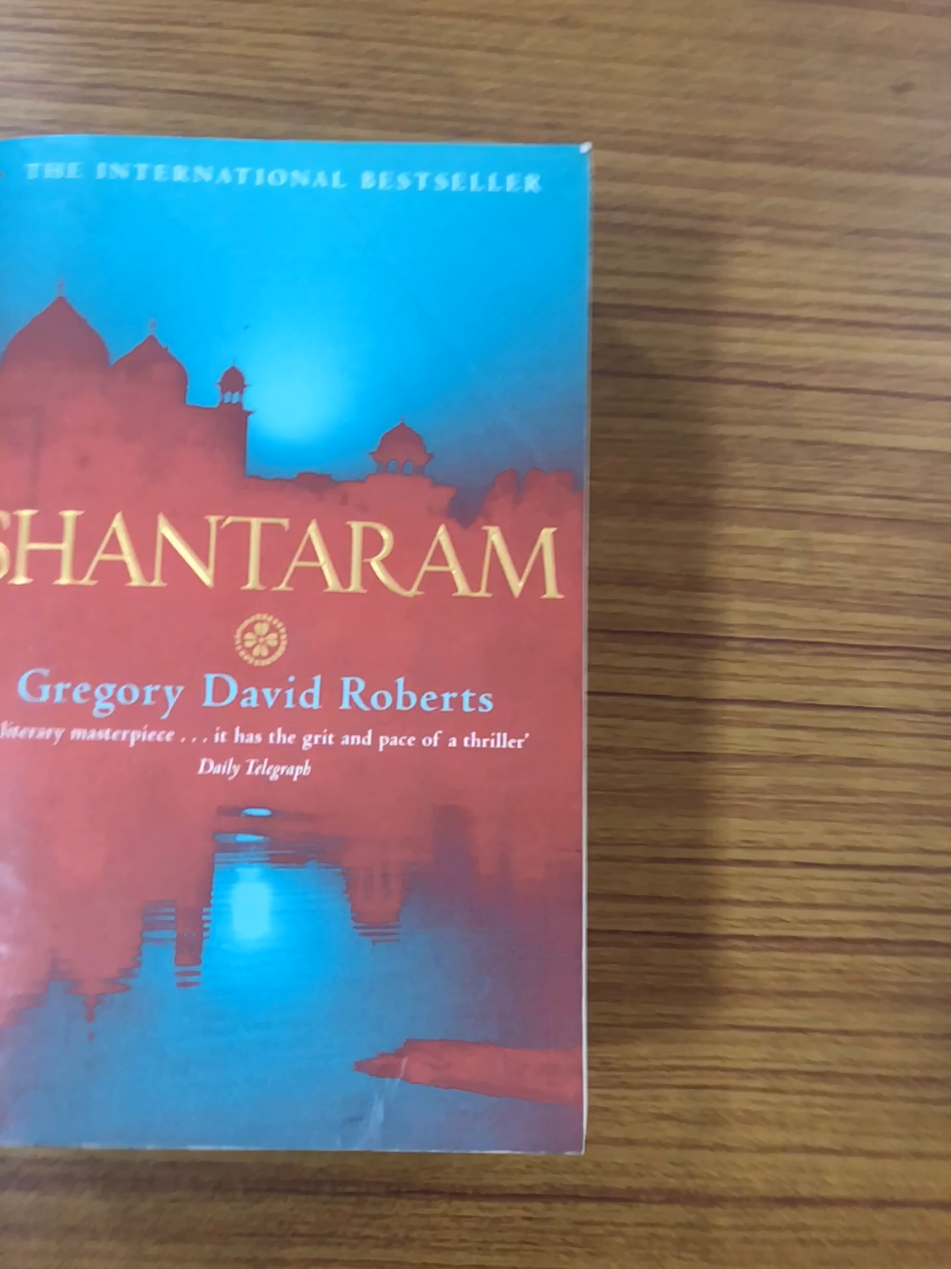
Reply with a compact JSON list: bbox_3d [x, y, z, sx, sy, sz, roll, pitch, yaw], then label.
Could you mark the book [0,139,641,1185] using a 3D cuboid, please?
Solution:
[{"bbox_3d":[-0.047,0.003,0.220,0.150,0.050,0.190,0,83,-2],"label":"book"}]
